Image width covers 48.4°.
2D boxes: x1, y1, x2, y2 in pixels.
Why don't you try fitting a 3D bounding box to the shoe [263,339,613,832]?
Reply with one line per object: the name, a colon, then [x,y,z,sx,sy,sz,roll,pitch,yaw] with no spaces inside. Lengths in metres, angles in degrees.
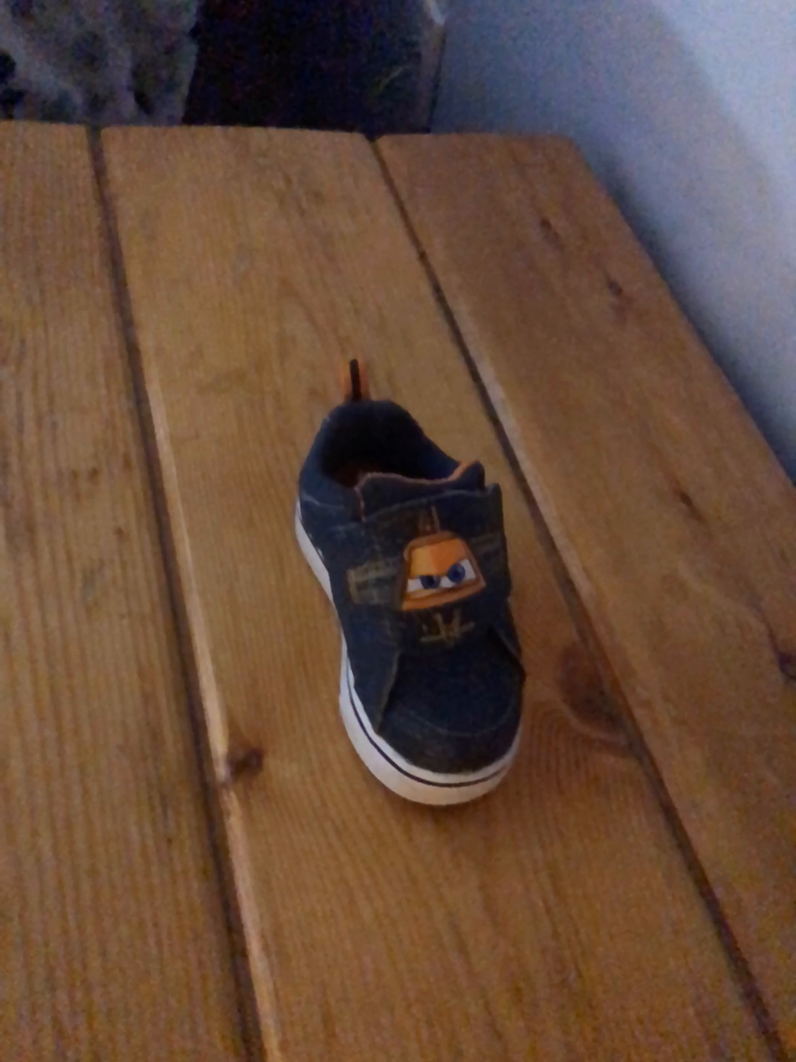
shoe: [0.003,0.013,0.325,0.070,0.070,0.160,-7,57,-18]
